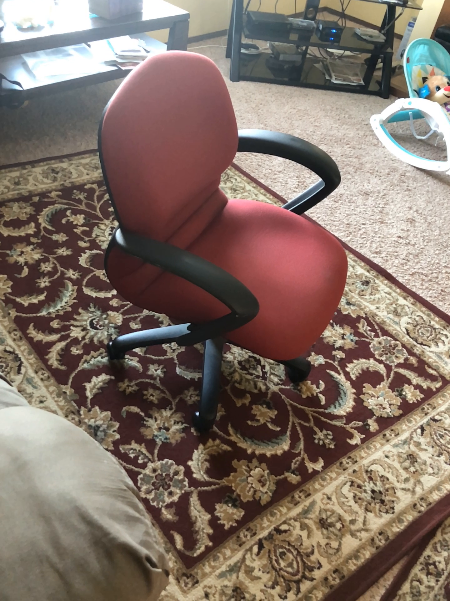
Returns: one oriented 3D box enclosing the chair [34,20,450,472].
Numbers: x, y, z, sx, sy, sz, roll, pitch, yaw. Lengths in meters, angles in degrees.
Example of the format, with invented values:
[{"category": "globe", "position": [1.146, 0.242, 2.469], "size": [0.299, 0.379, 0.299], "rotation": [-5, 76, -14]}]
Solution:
[{"category": "chair", "position": [0.044, -0.153, 1.243], "size": [0.620, 0.729, 0.651], "rotation": [25, 46, 14]}]
